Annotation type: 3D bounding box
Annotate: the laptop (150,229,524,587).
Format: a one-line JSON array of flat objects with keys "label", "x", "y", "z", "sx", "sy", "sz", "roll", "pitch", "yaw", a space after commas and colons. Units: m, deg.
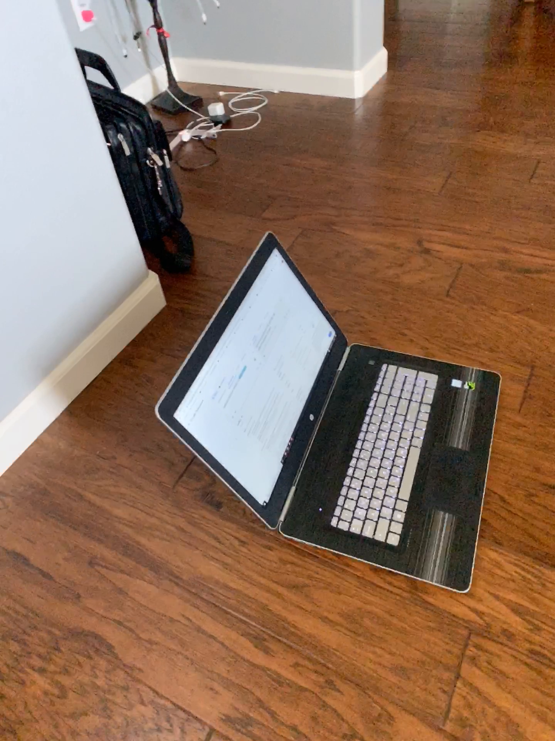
[{"label": "laptop", "x": 0.118, "y": 0.026, "z": 0.876, "sx": 0.422, "sy": 0.233, "sz": 0.413, "roll": 12, "pitch": 50, "yaw": 16}]
